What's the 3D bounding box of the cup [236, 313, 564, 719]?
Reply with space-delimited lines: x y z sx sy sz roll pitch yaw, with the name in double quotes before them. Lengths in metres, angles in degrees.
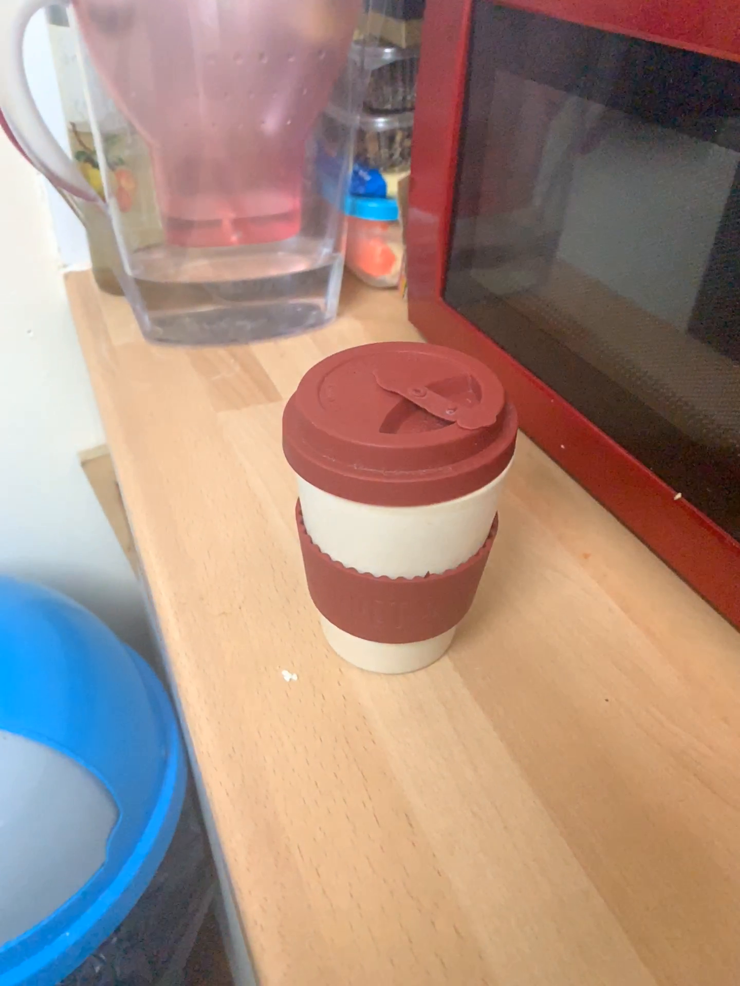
"cup" 0.006 0.006 0.308 0.086 0.115 0.088 1 38 -1
